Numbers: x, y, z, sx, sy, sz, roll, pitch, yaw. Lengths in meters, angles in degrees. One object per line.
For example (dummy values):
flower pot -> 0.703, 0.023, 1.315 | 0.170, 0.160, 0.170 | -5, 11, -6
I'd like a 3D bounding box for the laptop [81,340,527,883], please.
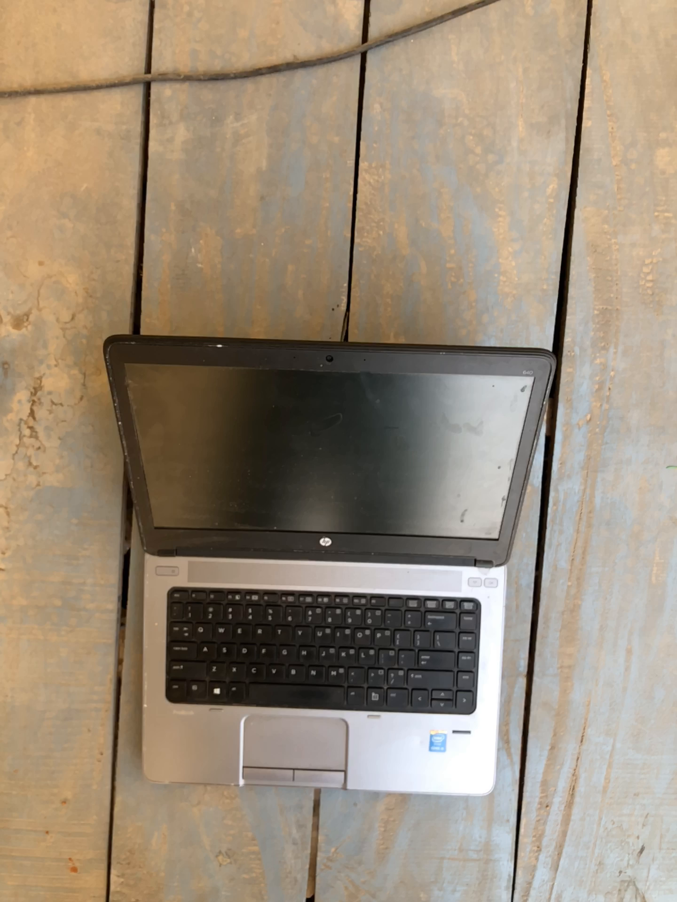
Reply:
laptop -> -0.027, 0.119, 0.597 | 0.306, 0.123, 0.388 | 2, 97, 2
